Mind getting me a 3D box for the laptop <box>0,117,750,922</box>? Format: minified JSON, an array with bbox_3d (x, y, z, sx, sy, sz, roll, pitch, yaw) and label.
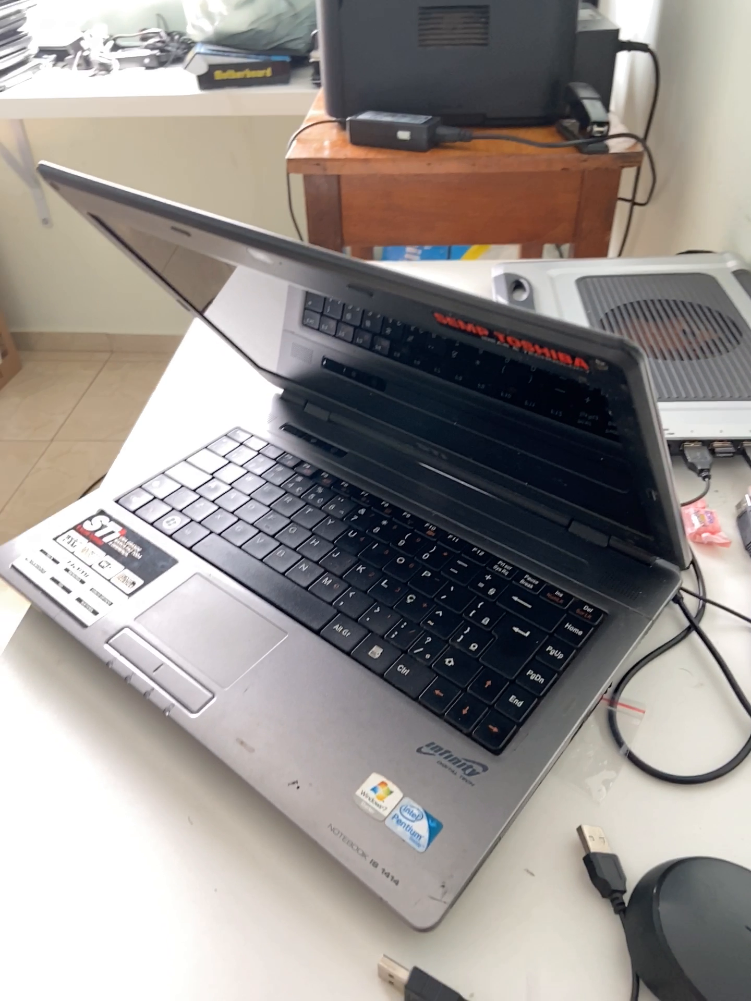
[{"bbox_3d":[-0.035,-0.040,0.402,0.342,0.200,0.242,27,48,31],"label":"laptop"}]
